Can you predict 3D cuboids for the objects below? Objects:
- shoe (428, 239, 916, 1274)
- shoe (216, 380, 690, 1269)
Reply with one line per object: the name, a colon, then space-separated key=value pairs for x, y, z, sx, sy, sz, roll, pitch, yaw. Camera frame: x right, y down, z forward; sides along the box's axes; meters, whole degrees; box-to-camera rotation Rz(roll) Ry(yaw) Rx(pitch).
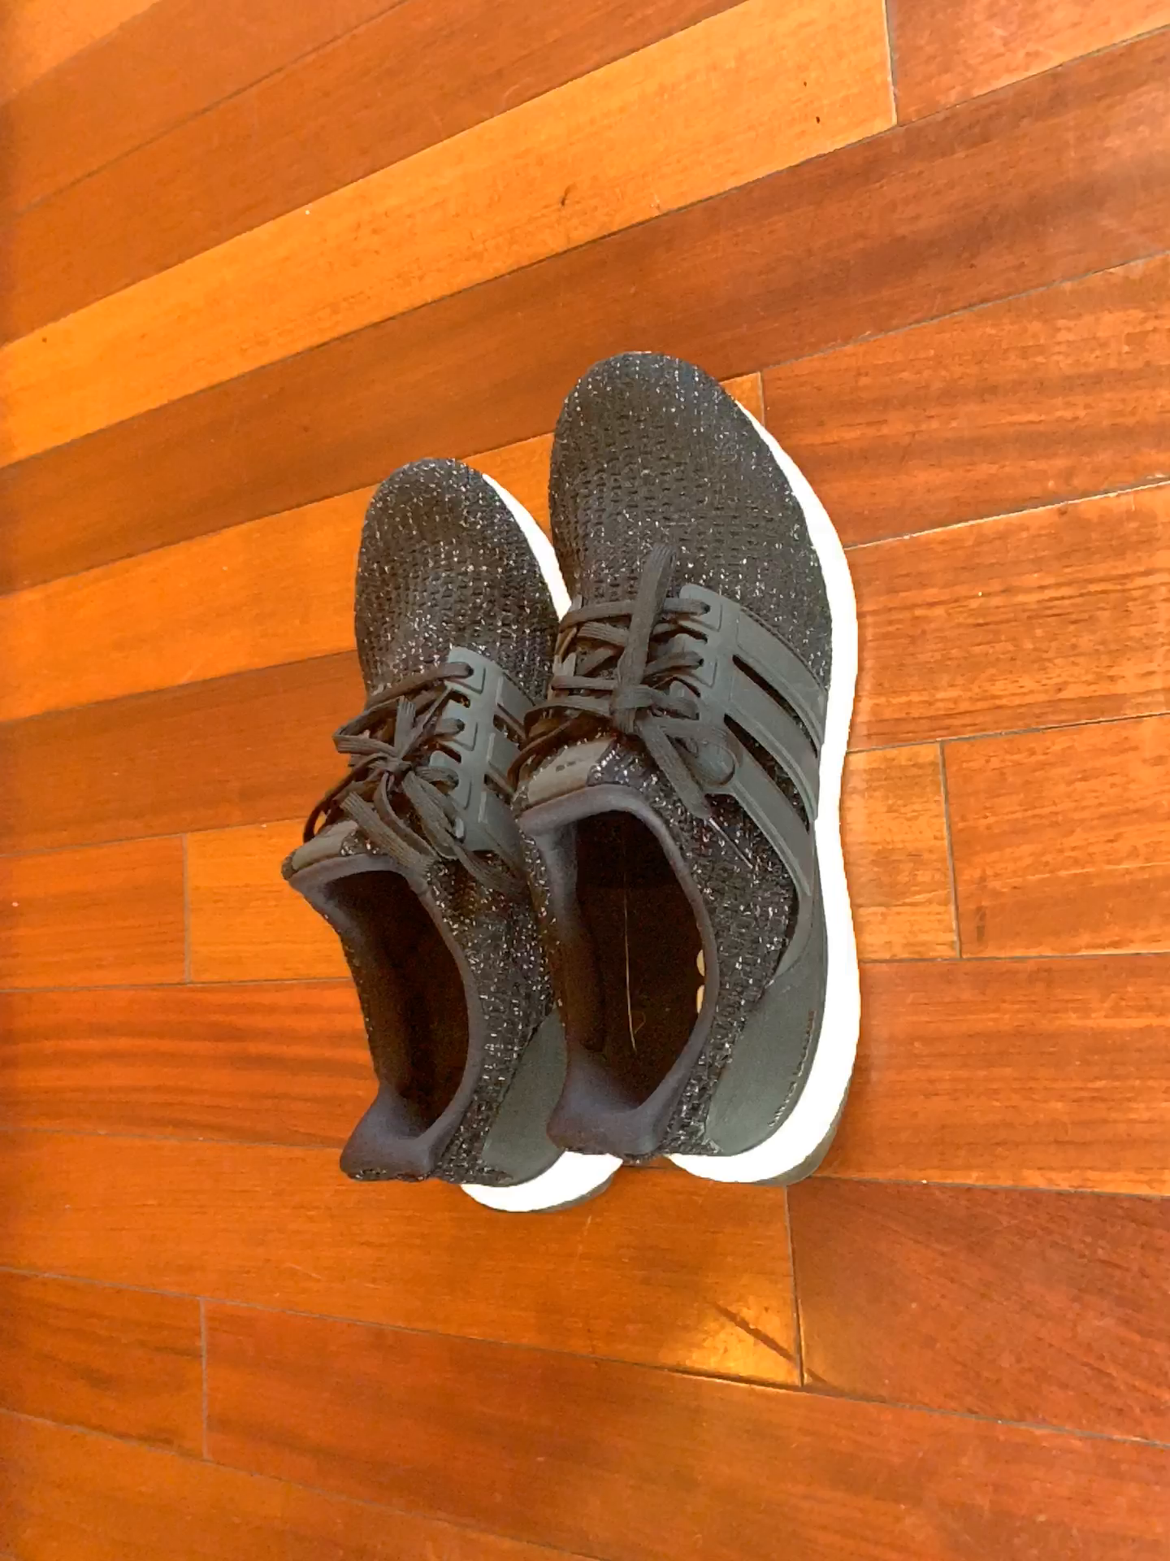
shoe: x=0.029 y=-0.004 z=0.403 sx=0.110 sy=0.100 sz=0.290 roll=-7 pitch=83 yaw=30
shoe: x=-0.053 y=0.020 z=0.469 sx=0.110 sy=0.100 sz=0.300 roll=-13 pitch=80 yaw=29
